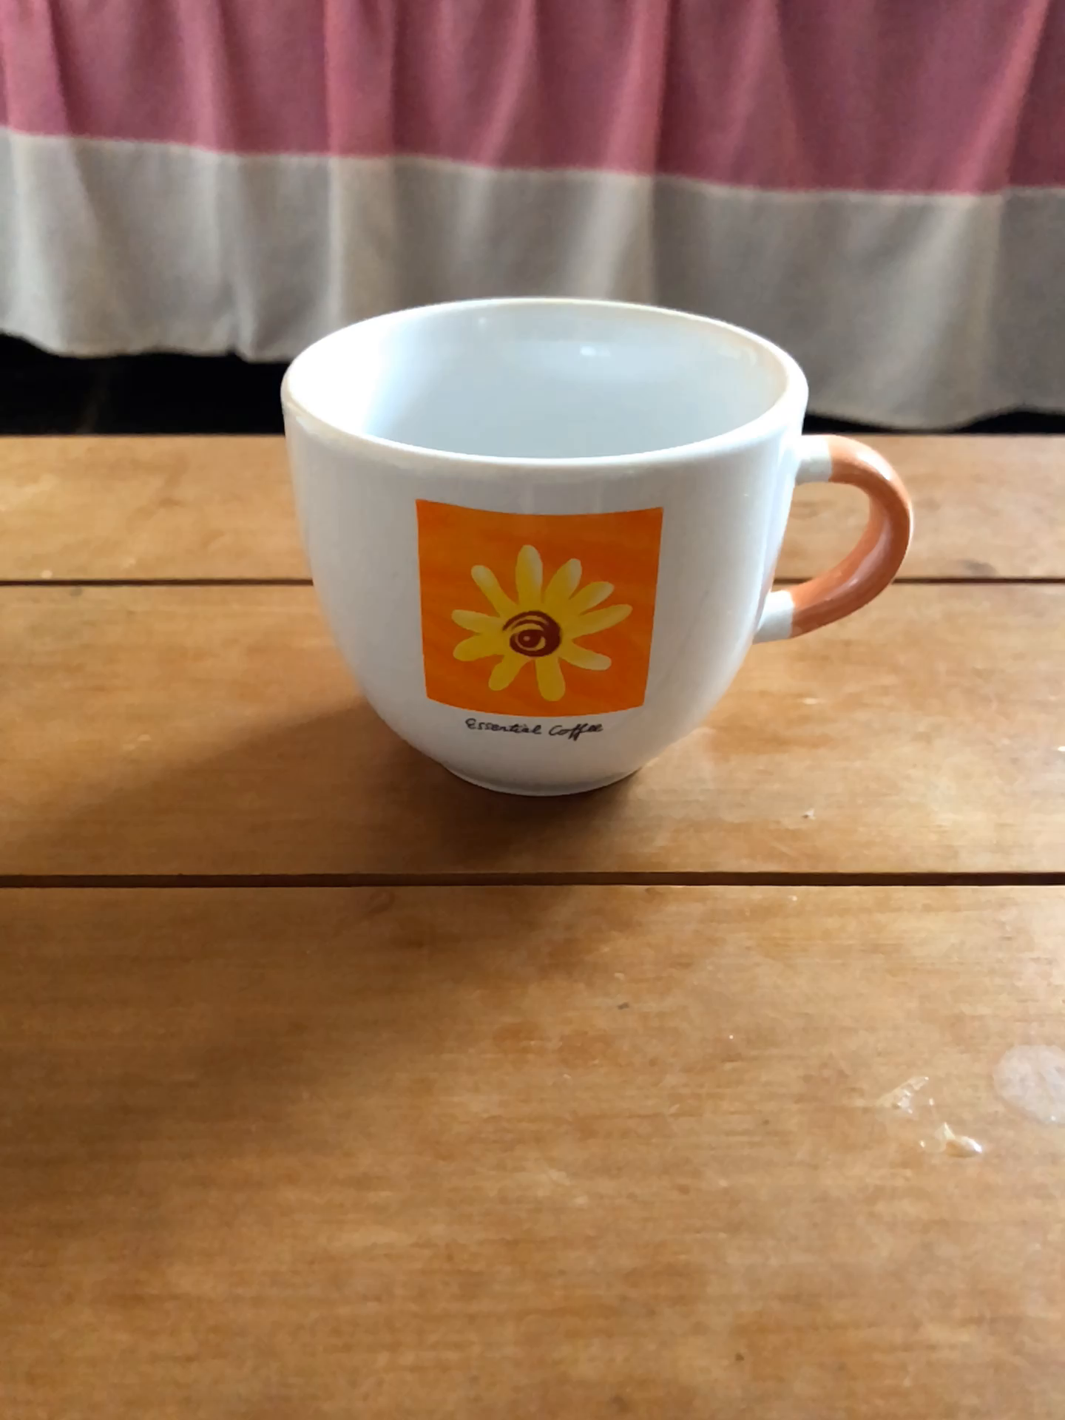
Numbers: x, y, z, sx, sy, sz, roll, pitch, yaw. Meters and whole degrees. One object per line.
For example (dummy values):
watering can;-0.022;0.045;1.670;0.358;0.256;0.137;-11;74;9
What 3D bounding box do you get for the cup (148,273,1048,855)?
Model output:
cup;0.007;-0.030;0.199;0.110;0.060;0.091;-2;34;-3
